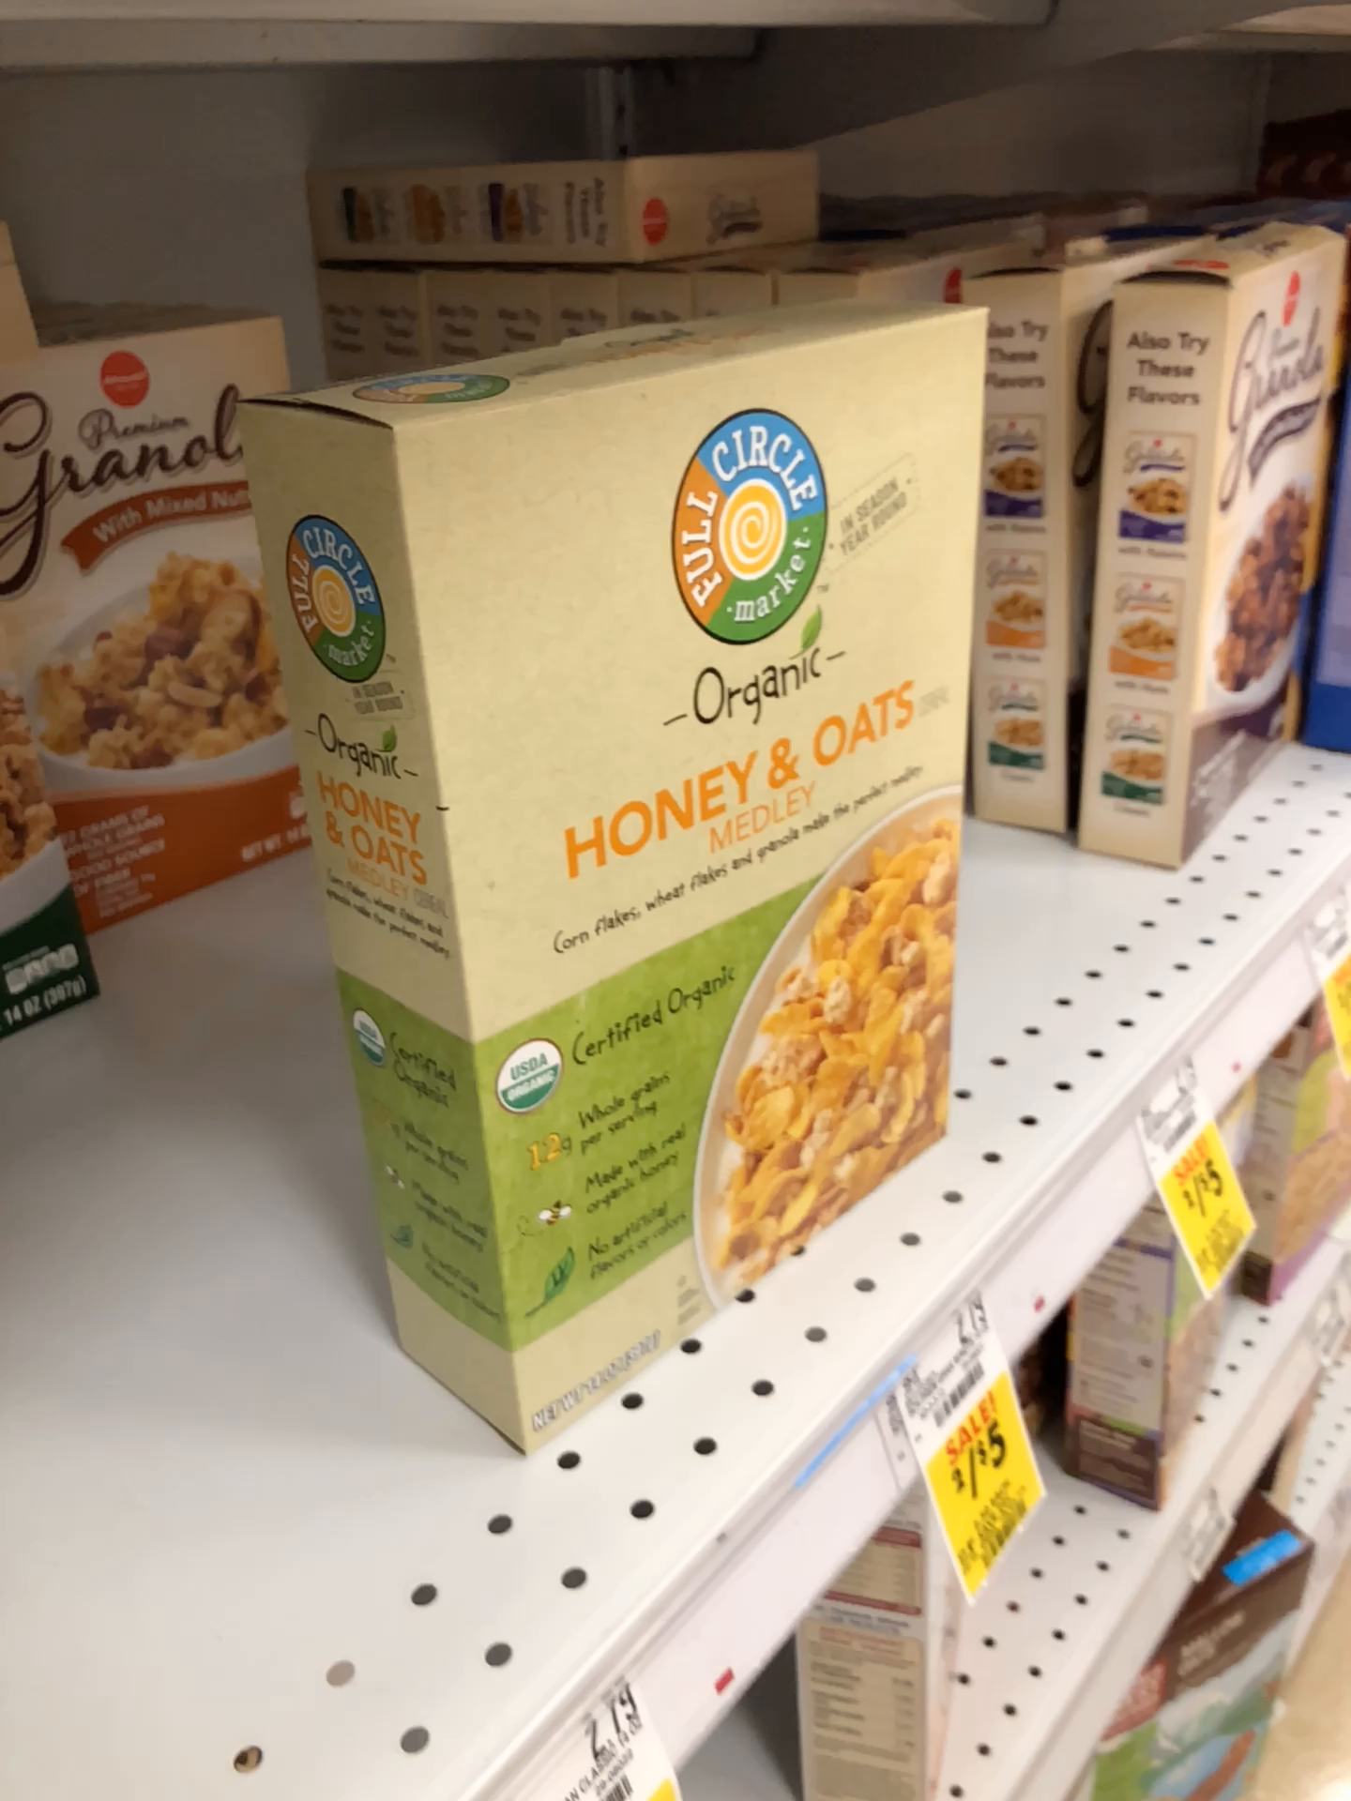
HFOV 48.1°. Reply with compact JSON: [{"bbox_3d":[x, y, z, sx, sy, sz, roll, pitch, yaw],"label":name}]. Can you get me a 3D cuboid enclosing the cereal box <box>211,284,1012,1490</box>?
[{"bbox_3d":[0.002,-0.012,0.396,0.060,0.259,0.190,21,35,40],"label":"cereal box"}]
